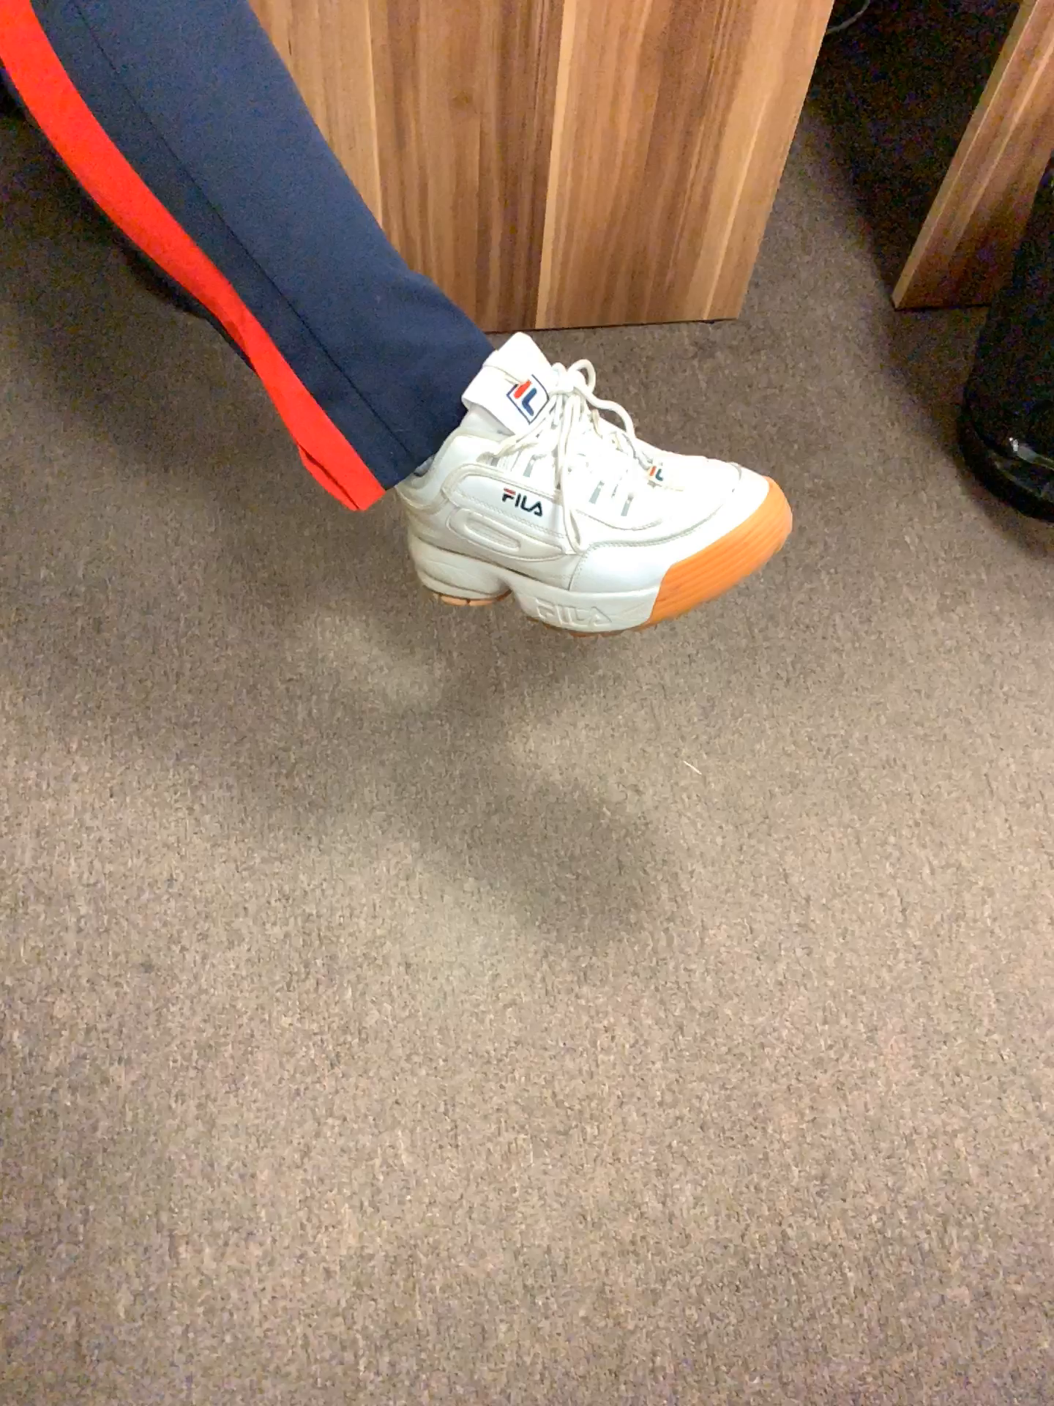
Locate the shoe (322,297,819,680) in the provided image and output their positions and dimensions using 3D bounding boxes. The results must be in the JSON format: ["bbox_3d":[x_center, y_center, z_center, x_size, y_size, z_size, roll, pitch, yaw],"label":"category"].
[{"bbox_3d":[0.029,-0.130,0.610,0.230,0.130,0.130,17,51,30],"label":"shoe"}]
